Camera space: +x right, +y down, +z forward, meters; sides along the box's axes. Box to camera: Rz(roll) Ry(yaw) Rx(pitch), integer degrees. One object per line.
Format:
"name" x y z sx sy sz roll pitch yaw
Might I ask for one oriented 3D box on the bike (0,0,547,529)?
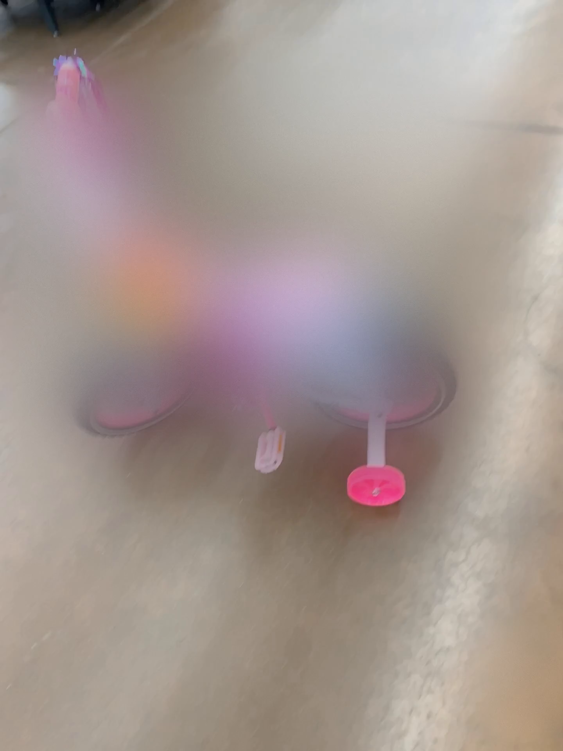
"bike" -0.074 -0.122 1.000 0.724 0.648 0.503 -6 50 9
